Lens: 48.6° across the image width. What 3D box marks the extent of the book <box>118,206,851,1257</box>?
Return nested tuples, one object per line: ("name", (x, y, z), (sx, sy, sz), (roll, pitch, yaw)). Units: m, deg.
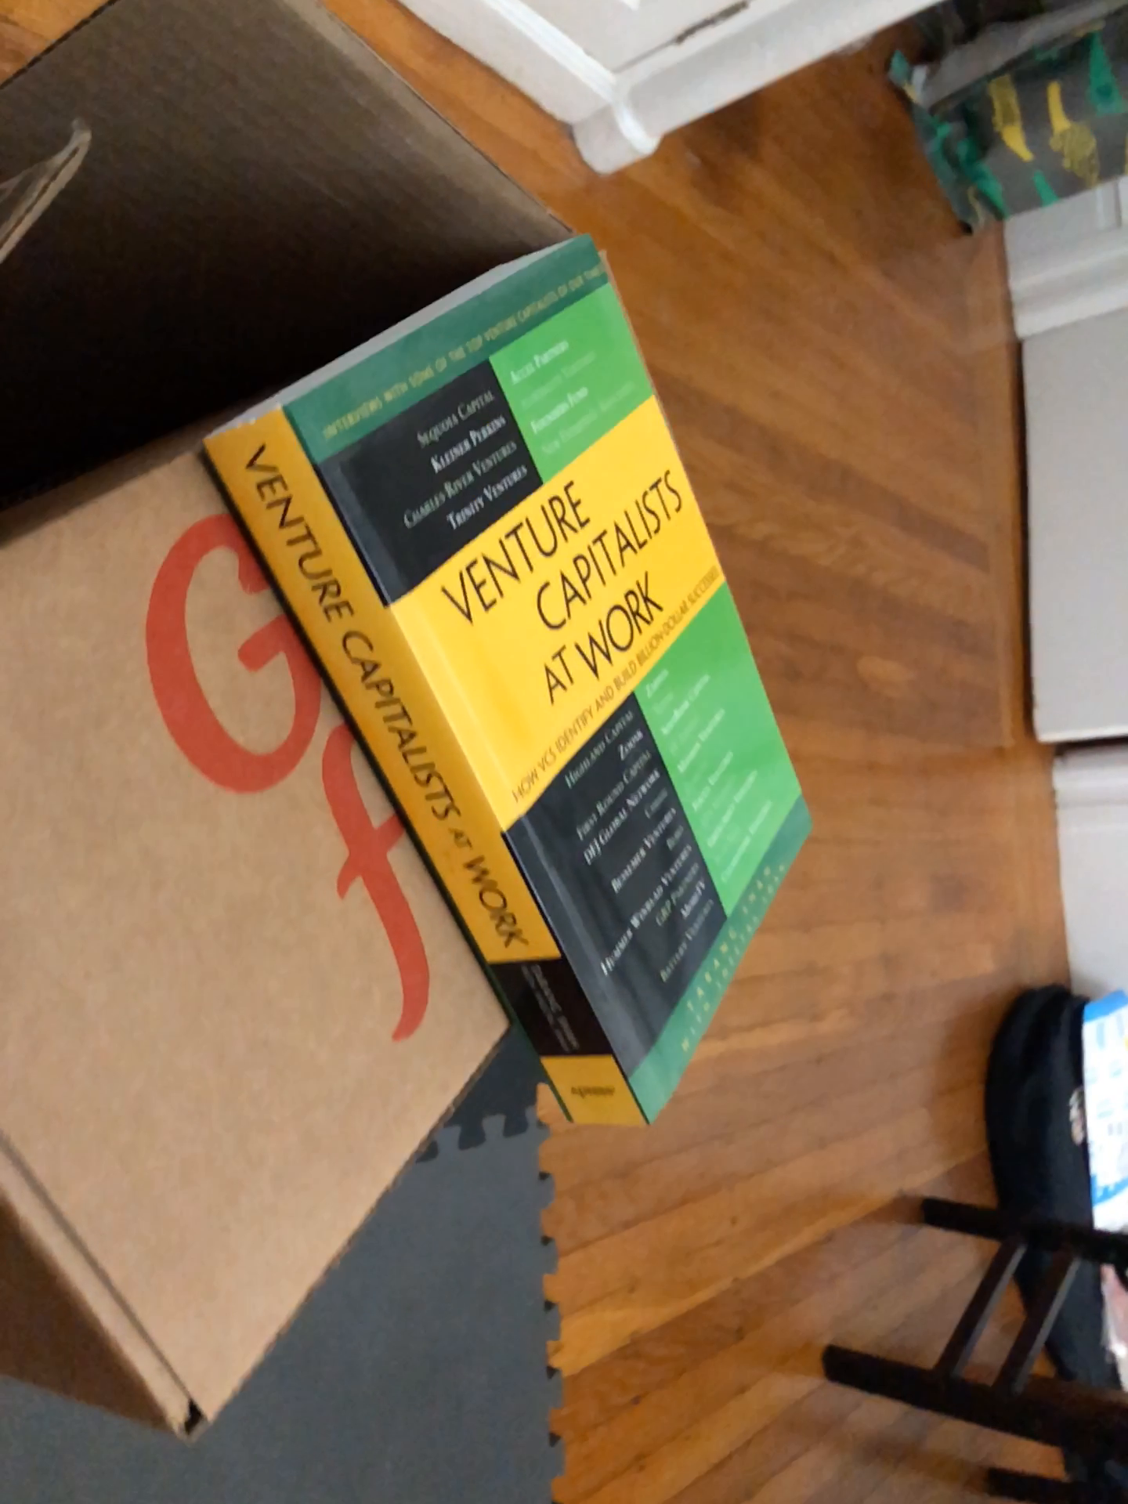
("book", (0.004, -0.006, 0.373), (0.161, 0.040, 0.260), (-49, 123, -44))
